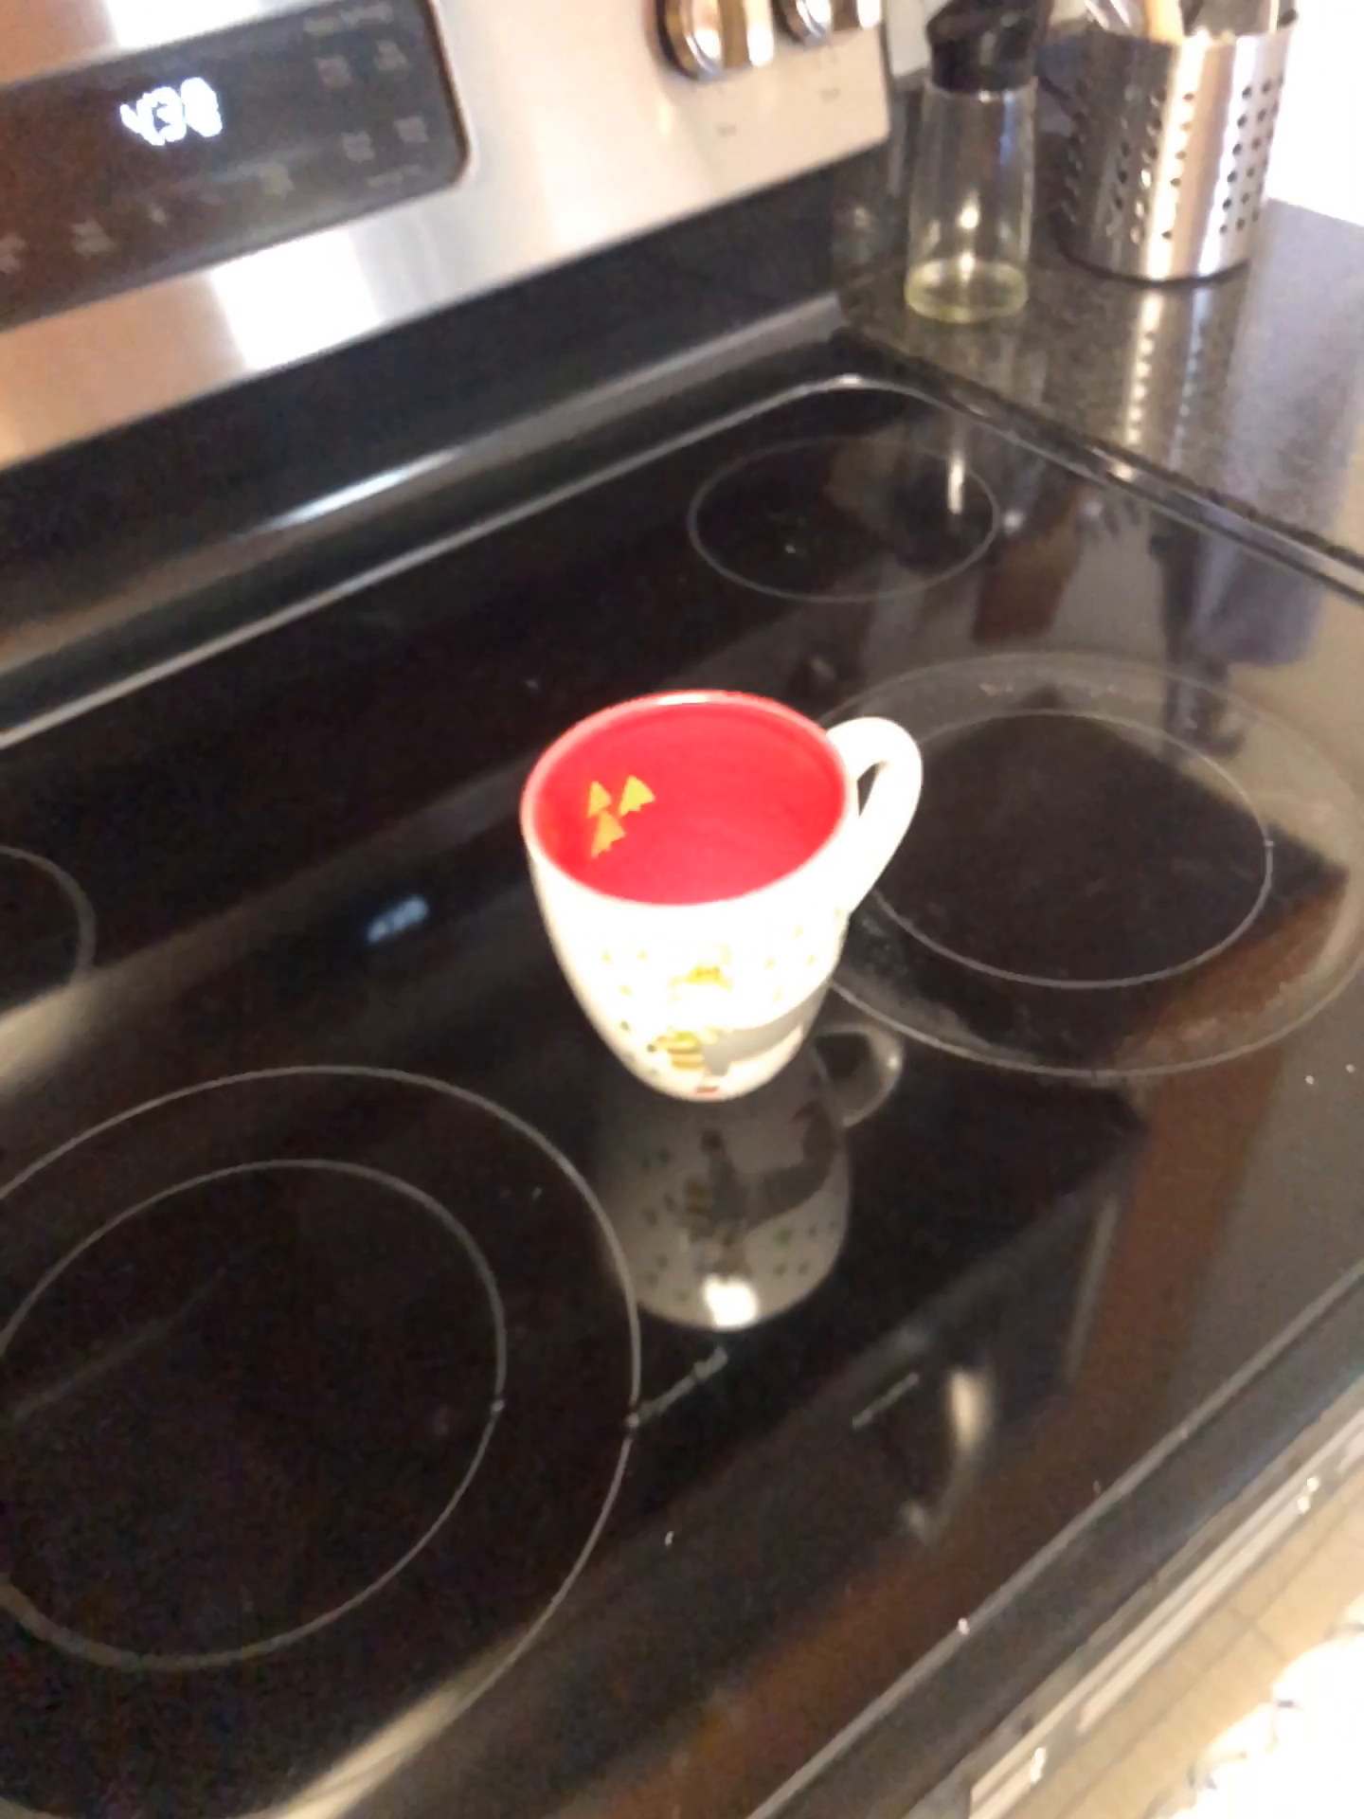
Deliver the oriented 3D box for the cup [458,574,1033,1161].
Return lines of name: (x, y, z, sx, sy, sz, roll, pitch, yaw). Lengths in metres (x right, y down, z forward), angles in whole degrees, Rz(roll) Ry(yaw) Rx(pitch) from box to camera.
cup: (0.022, -0.018, 0.487, 0.140, 0.100, 0.100, -32, 50, -25)
